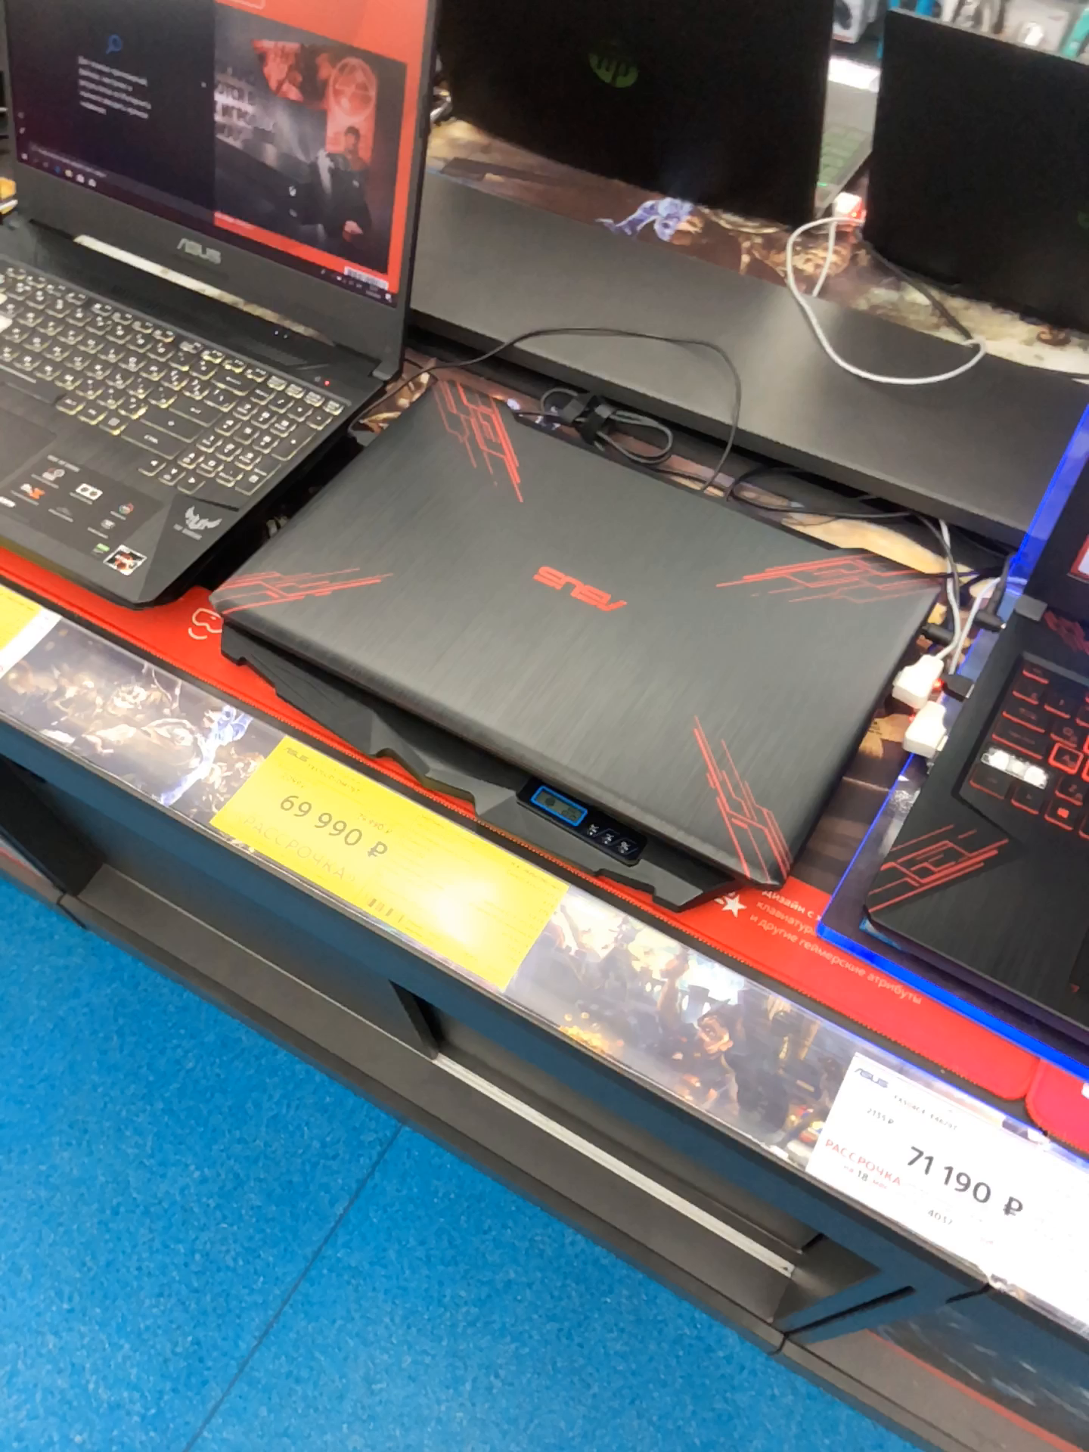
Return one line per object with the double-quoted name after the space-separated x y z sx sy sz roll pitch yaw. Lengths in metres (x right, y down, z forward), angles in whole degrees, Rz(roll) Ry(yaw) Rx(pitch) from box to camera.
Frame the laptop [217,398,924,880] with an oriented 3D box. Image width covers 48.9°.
0.020 -0.076 0.726 0.358 0.003 0.240 25 55 17 "laptop"
